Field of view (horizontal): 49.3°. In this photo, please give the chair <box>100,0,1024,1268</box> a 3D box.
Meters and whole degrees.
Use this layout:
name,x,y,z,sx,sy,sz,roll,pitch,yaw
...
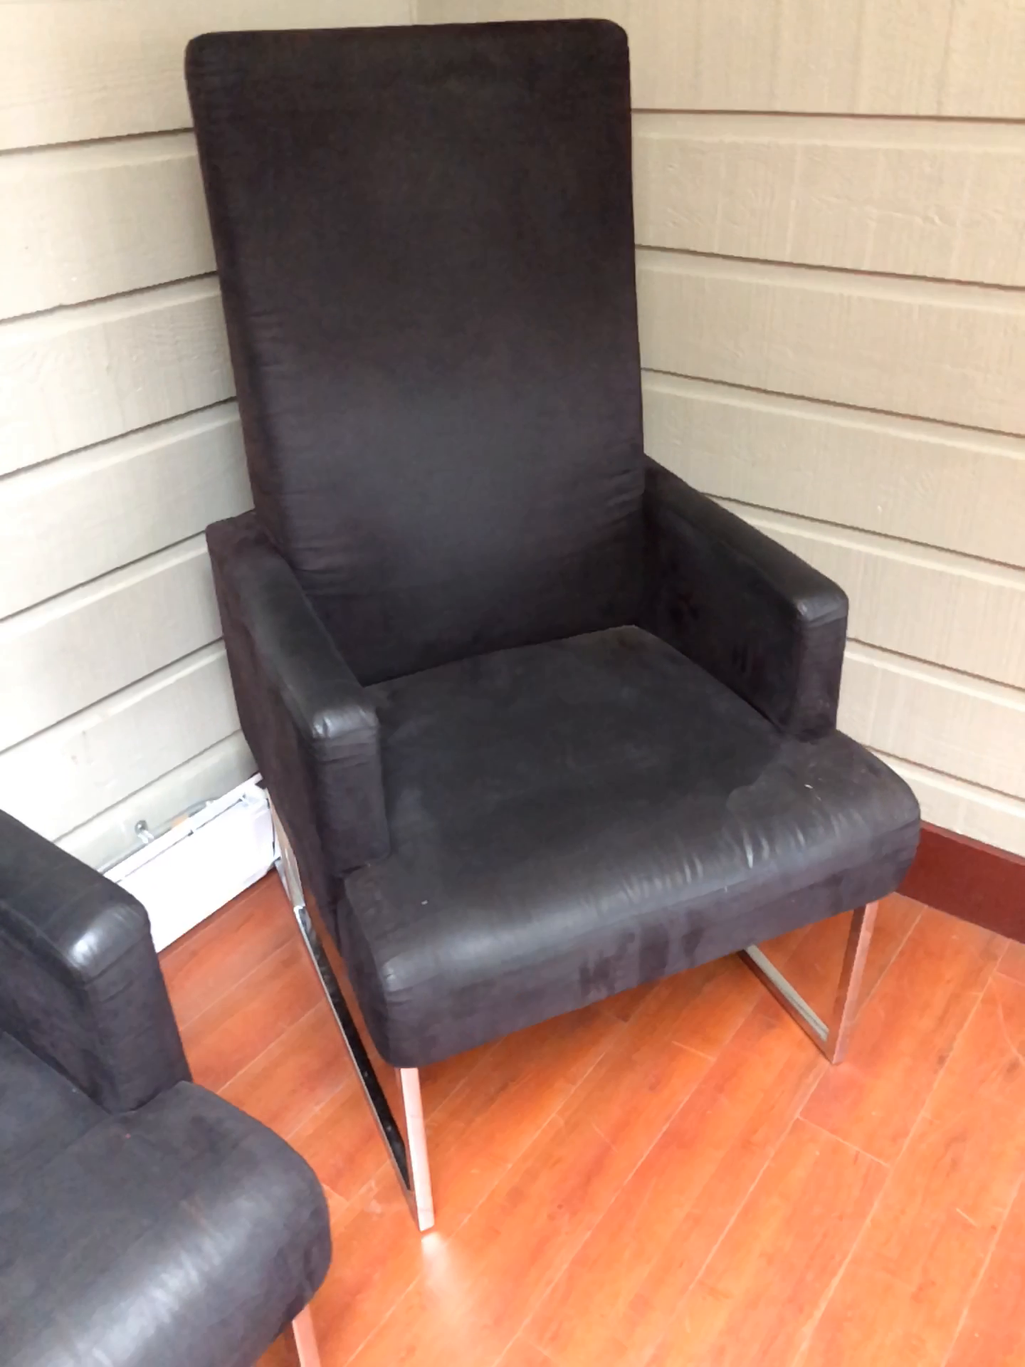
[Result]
name,x,y,z,sx,sy,sz,roll,pitch,yaw
chair,0.027,-0.112,1.234,0.630,1.082,0.705,-14,33,-20
